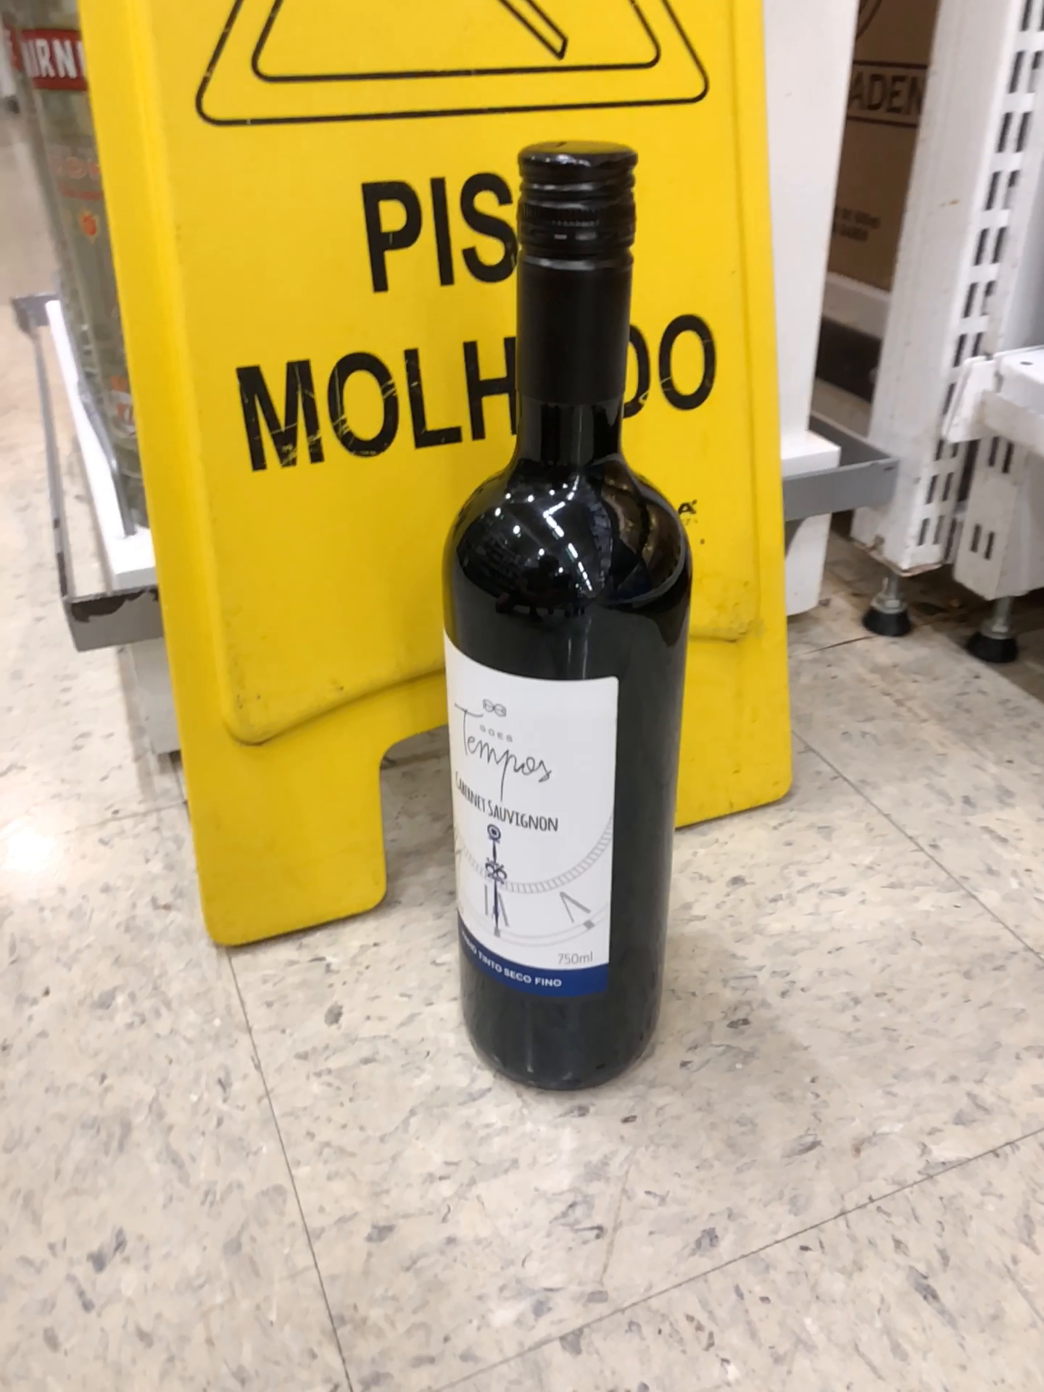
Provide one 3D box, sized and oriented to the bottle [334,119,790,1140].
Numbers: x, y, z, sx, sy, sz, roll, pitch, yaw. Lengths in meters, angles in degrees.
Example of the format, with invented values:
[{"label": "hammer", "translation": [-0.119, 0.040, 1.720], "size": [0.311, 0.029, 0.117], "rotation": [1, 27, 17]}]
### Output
[{"label": "bottle", "translation": [0.011, -0.006, 0.344], "size": [0.080, 0.288, 0.070], "rotation": [22, 38, 32]}]
